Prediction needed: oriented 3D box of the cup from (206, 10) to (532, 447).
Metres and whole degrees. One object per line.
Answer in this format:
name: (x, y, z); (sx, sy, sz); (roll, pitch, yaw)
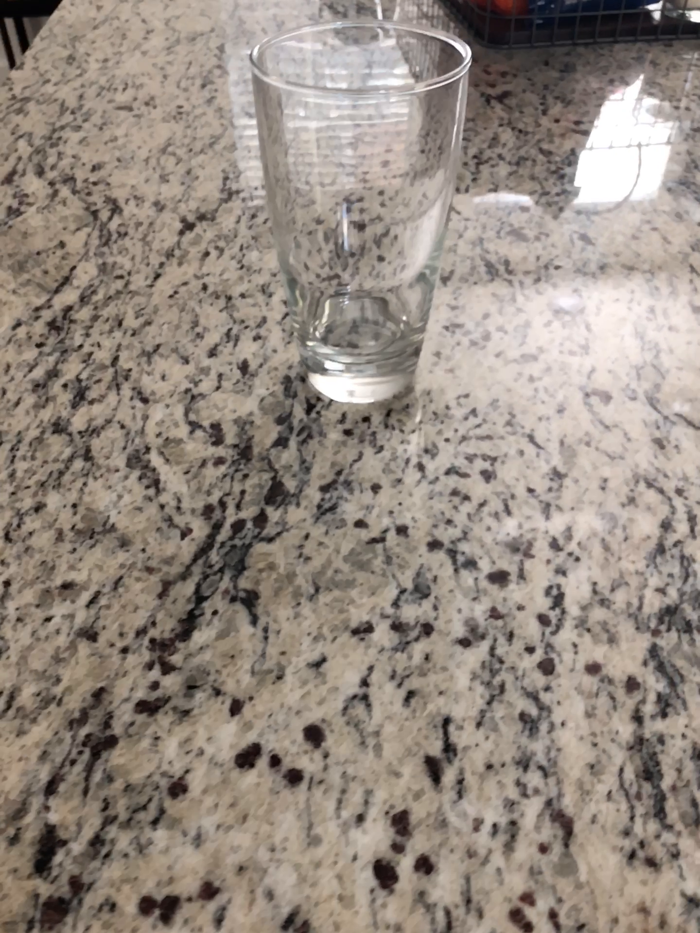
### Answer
cup: (0.006, -0.101, 0.334); (0.080, 0.139, 0.090); (-30, 51, -27)
